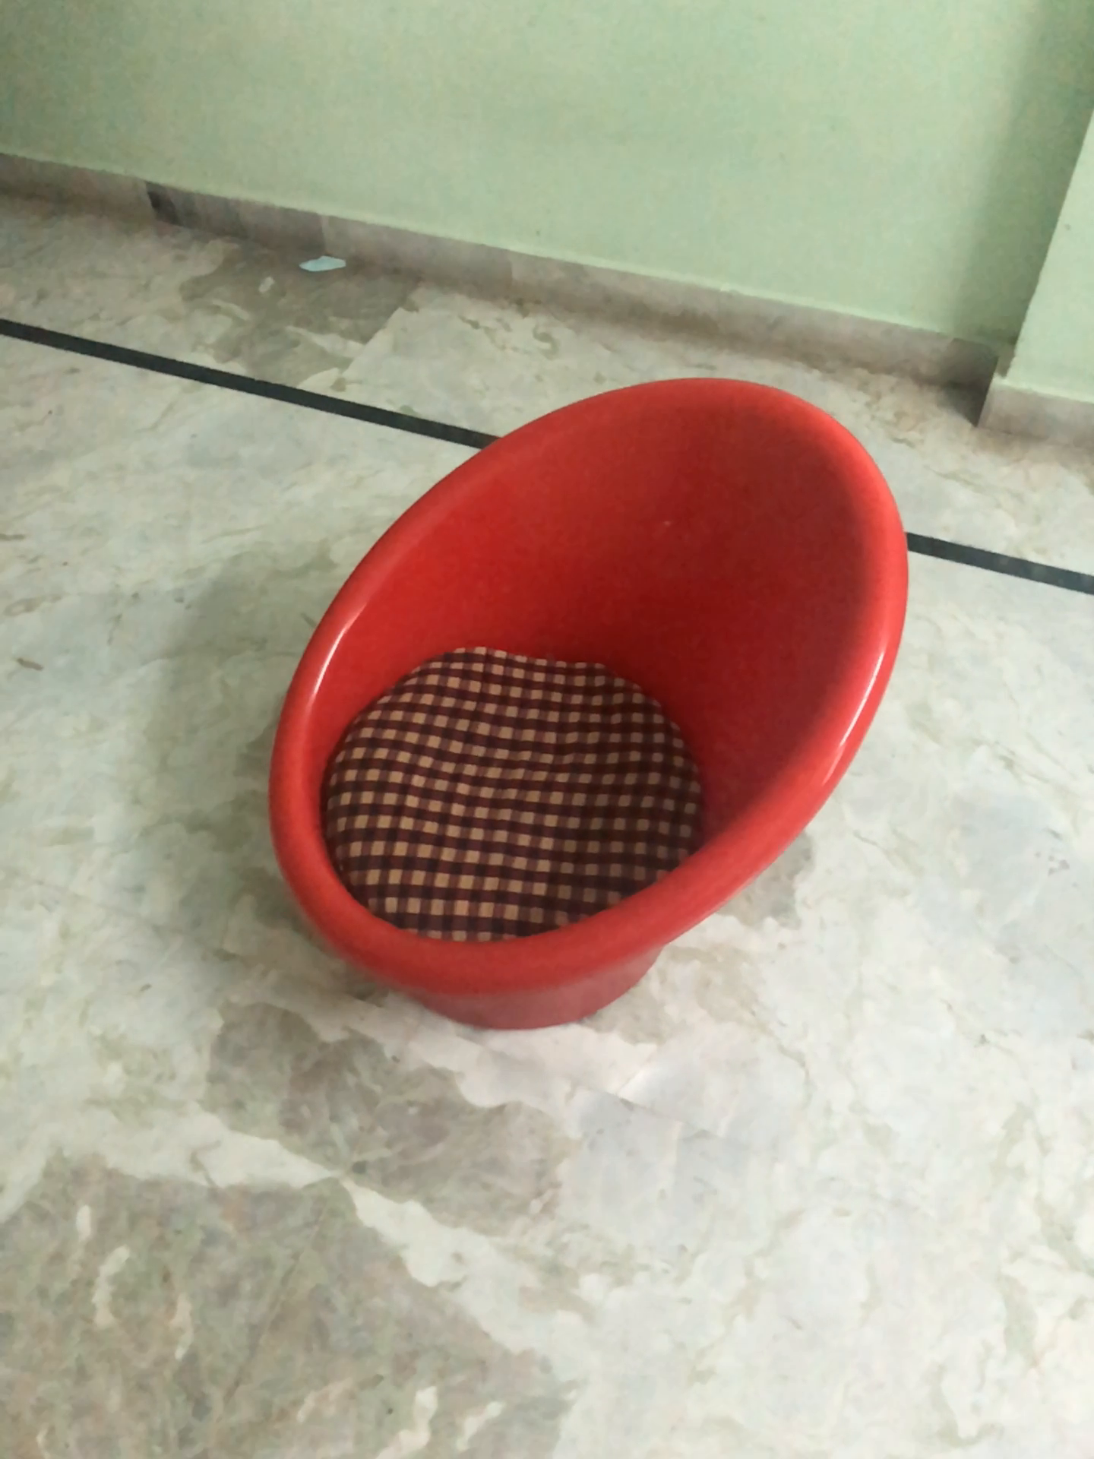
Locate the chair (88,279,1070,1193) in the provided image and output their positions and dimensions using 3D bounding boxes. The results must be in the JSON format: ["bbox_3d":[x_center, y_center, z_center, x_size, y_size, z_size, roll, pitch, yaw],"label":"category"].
[{"bbox_3d":[0.020,-0.031,1.369,0.741,0.507,0.623,-28,55,-21],"label":"chair"}]
